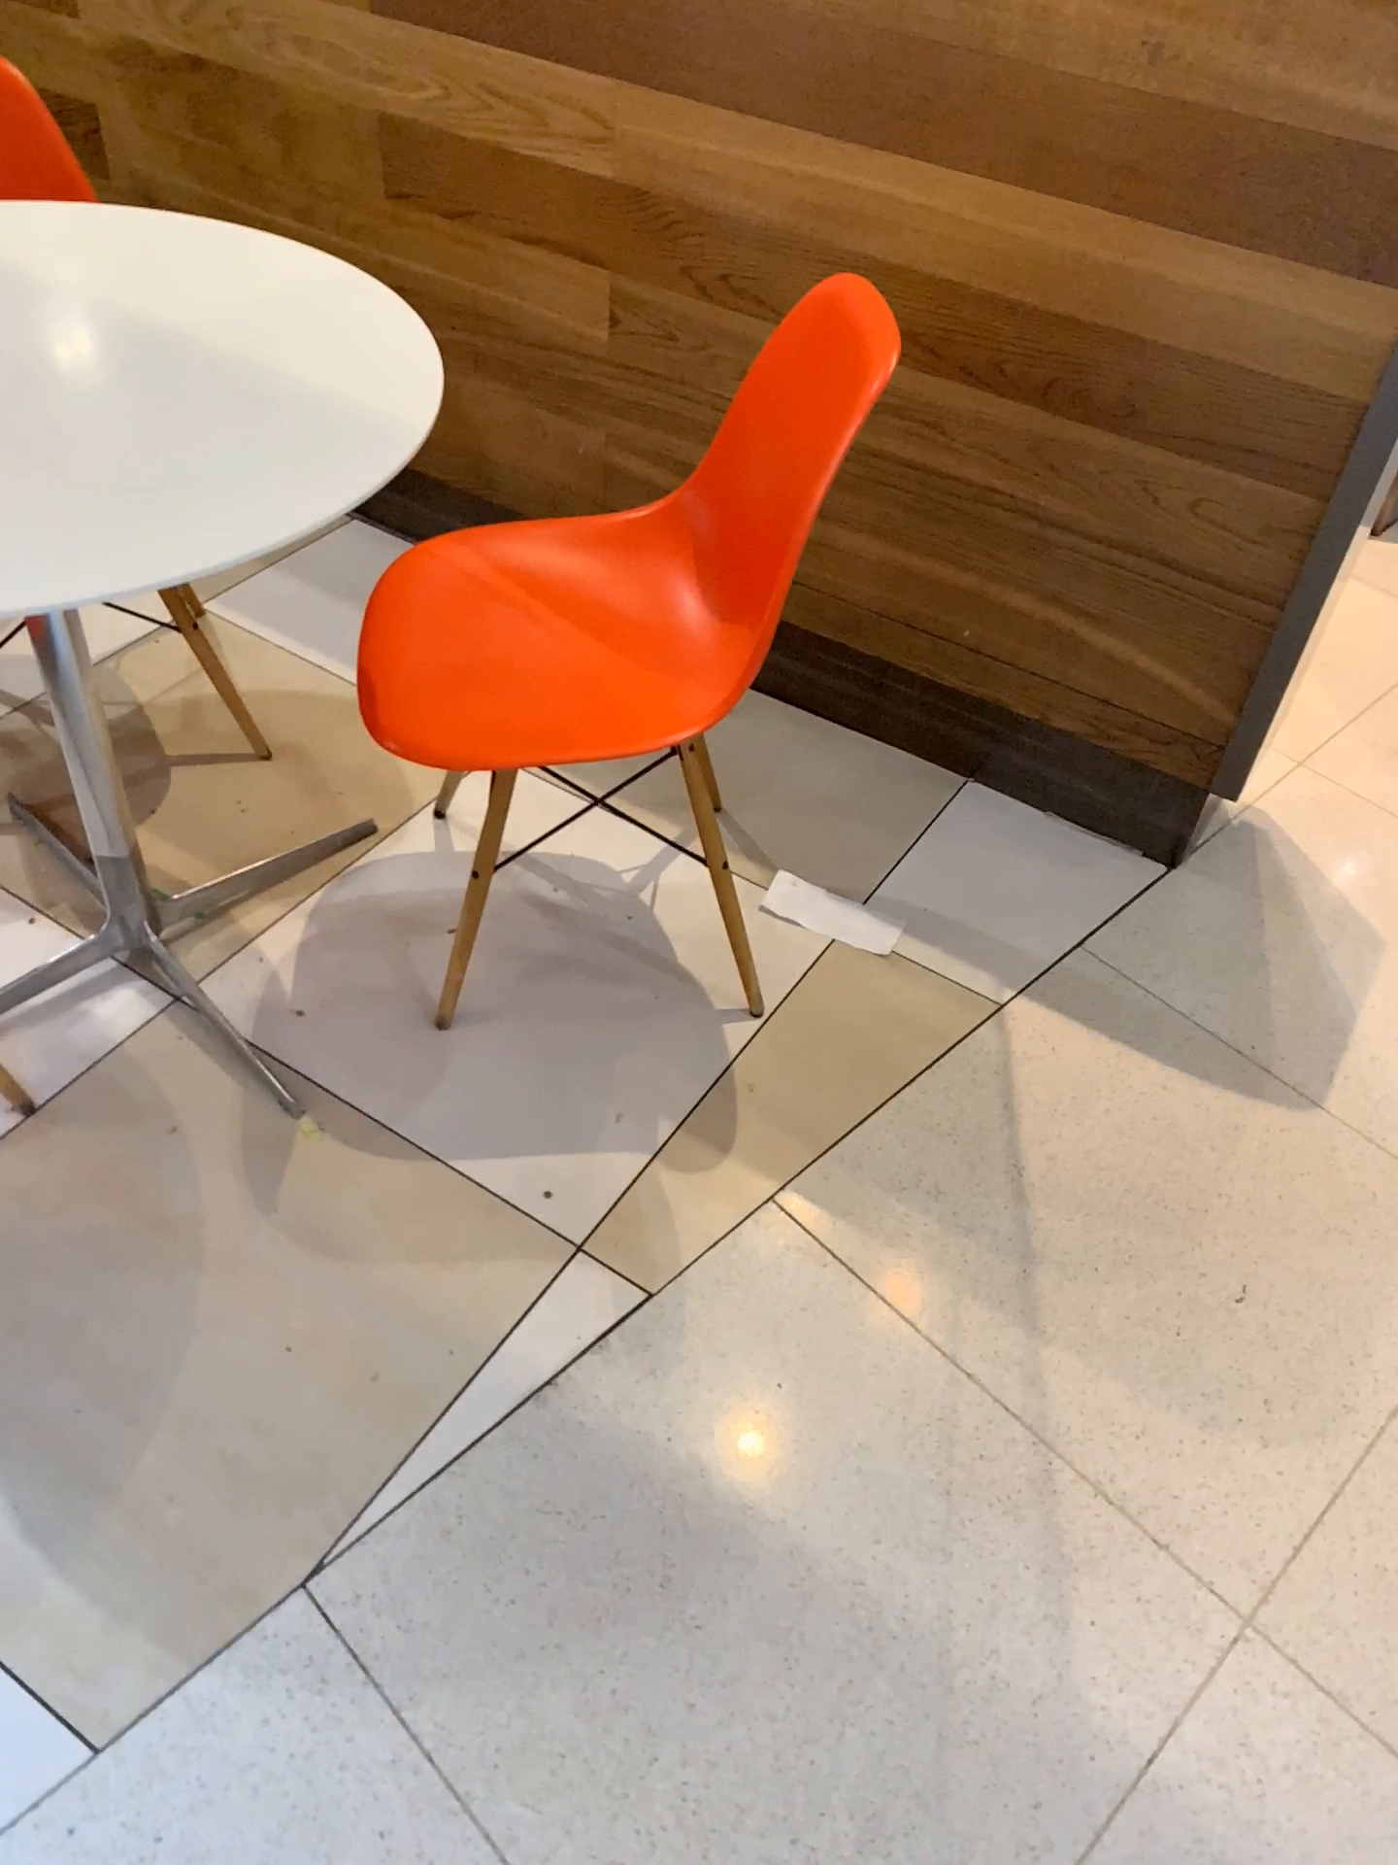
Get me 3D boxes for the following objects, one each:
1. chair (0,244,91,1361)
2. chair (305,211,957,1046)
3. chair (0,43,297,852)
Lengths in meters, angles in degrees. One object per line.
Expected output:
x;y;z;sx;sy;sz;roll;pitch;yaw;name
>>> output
-0.956;-0.106;1.267;0.512;0.762;0.450;-22;51;-26;chair
-0.102;-0.303;1.543;0.520;0.742;0.452;-2;45;-8;chair
-0.853;-0.601;1.766;0.448;0.742;0.524;-20;50;-24;chair
